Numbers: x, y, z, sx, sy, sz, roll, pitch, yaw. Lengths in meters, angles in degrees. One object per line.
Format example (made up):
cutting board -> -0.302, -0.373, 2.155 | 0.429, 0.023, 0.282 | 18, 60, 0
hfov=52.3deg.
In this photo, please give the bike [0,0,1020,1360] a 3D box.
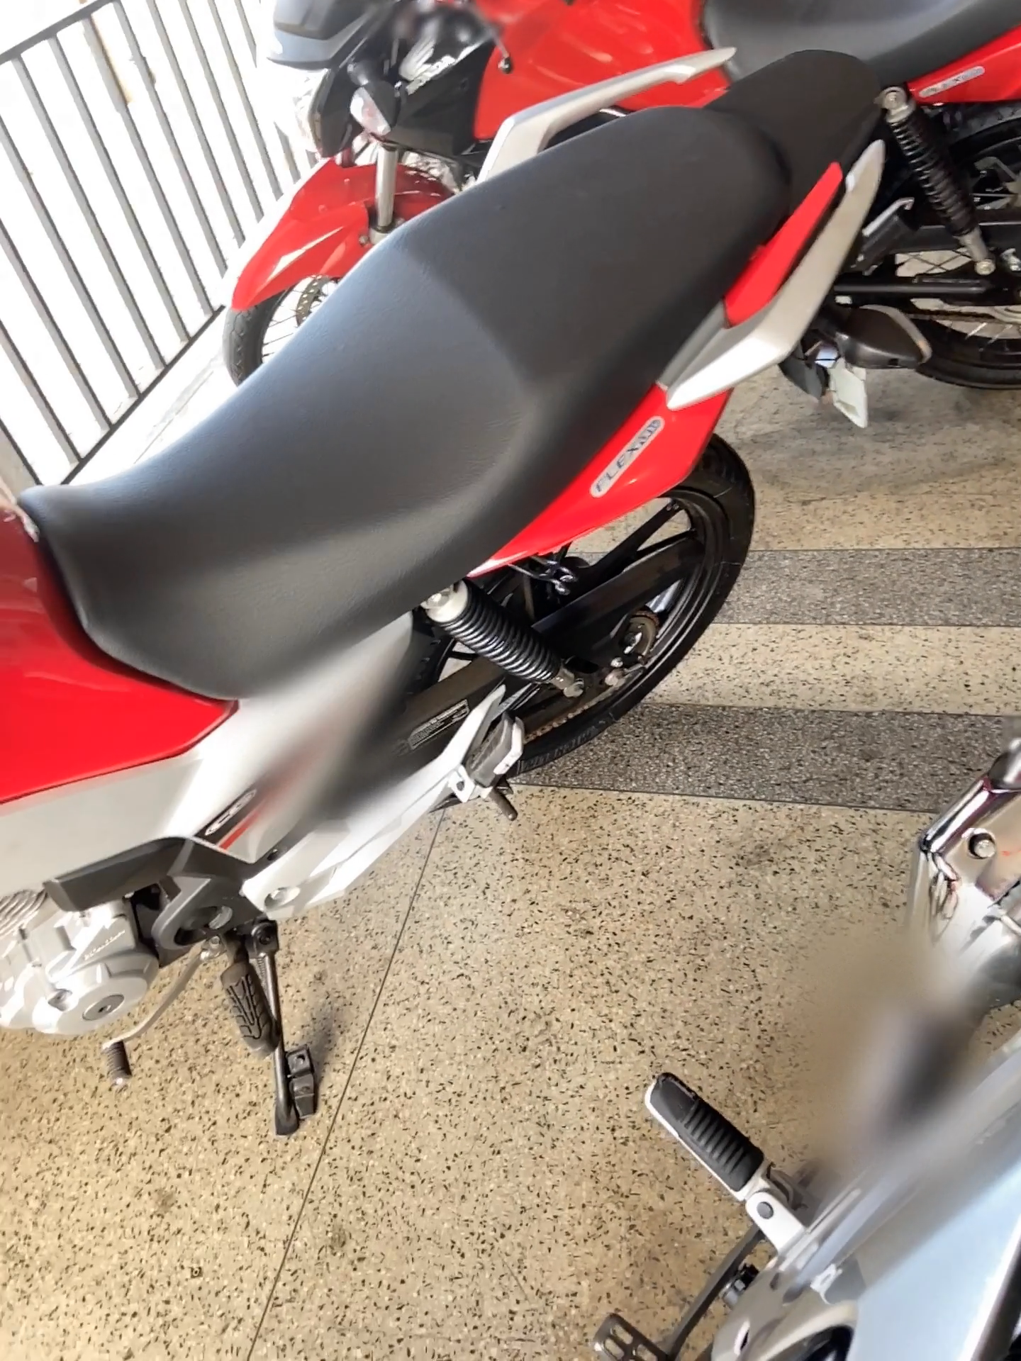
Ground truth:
bike -> -0.384, 0.212, 0.988 | 1.993, 1.422, 0.871 | -38, 46, -18
